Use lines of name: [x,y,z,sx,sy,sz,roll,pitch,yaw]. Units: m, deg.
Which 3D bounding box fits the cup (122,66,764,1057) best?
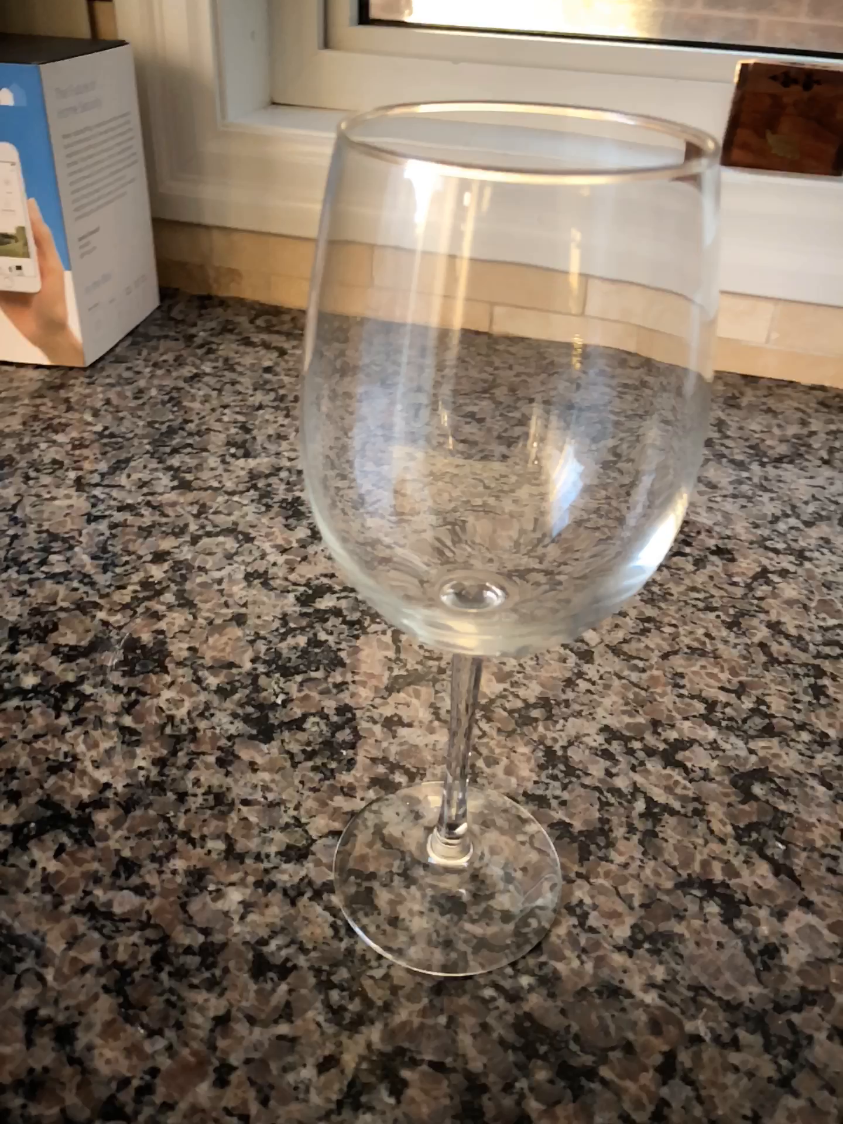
cup: [0.008,0.005,0.238,0.095,0.217,0.098,2,34,-1]
